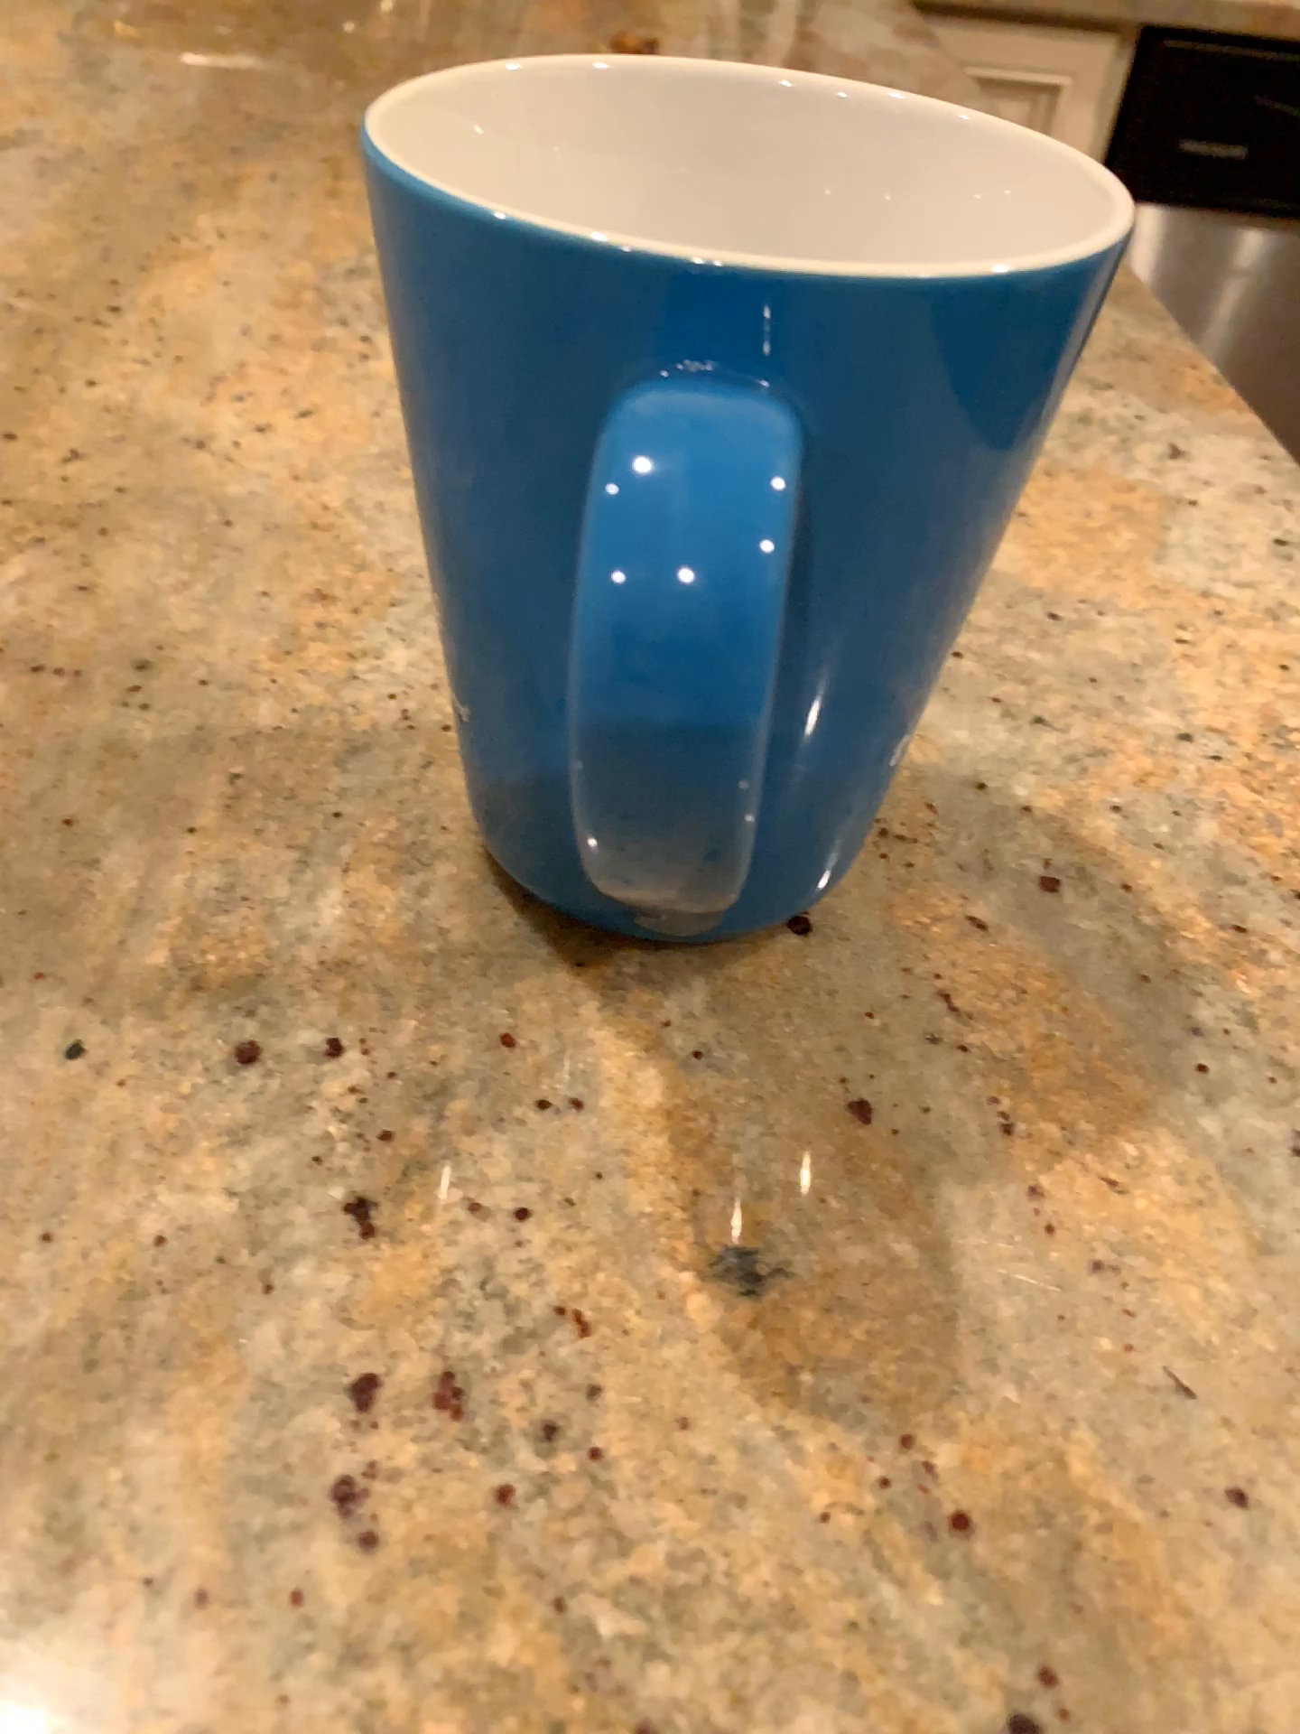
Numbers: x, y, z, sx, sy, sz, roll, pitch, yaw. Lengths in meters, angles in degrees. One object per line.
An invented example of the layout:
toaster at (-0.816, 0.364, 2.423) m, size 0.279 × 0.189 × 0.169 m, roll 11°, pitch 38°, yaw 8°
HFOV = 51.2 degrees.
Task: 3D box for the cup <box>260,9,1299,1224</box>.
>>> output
cup at (0.011, -0.040, 0.185) m, size 0.099 × 0.098 × 0.139 m, roll 1°, pitch 43°, yaw -8°
